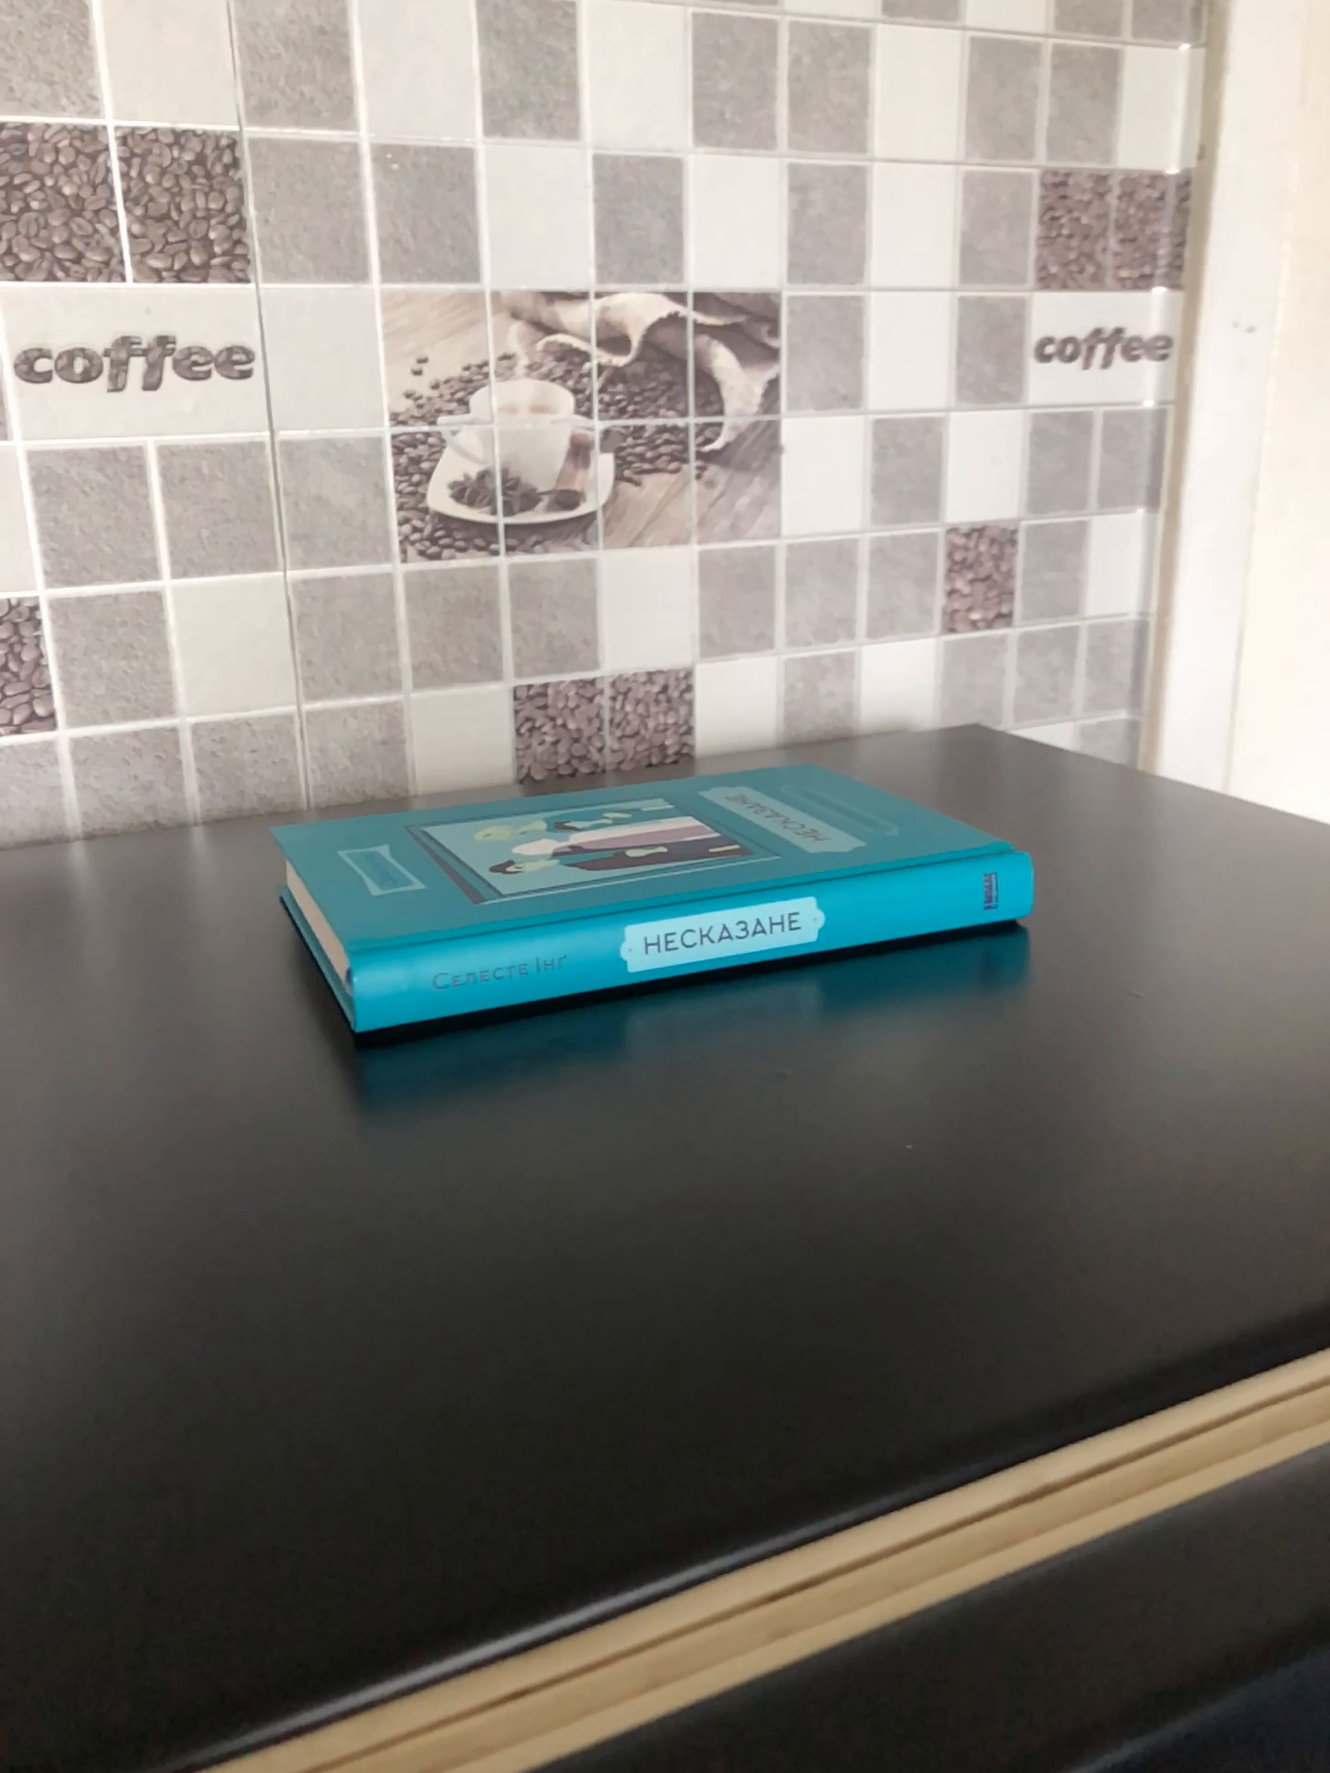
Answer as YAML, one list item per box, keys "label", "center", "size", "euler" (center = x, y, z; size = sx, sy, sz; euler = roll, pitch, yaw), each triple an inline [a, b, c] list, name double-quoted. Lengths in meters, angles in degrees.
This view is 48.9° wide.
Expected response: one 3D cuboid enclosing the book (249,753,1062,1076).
- label: "book"
  center: [-0.010, -0.002, 0.474]
  size: [0.220, 0.030, 0.152]
  euler: [-9, 19, -22]
